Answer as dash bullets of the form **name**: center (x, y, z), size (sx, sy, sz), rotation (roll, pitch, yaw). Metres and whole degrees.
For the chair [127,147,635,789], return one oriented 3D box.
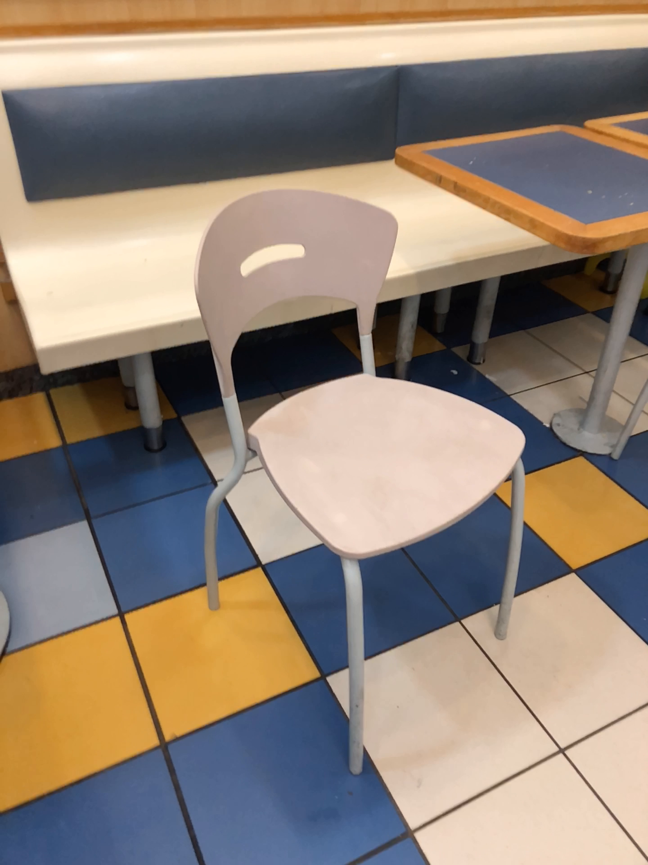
- **chair**: center (0.061, 0.043, 1.140), size (0.452, 0.794, 0.472), rotation (-27, 45, -33)
